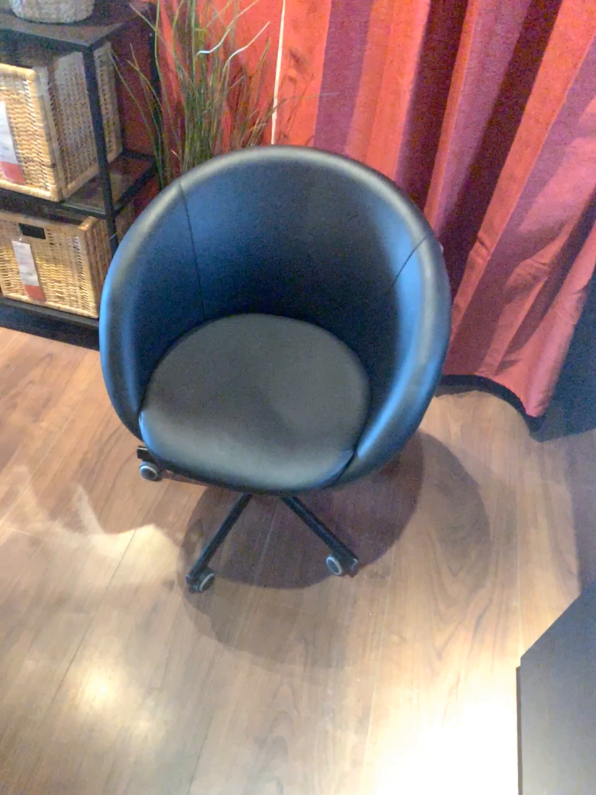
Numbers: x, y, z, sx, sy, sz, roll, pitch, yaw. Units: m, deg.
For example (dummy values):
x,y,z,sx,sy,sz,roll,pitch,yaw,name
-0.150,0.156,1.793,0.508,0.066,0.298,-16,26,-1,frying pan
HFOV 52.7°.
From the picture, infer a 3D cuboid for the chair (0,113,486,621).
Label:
x,y,z,sx,sy,sz,roll,pitch,yaw,name
-0.084,-0.037,1.178,0.620,0.697,0.582,9,47,0,chair
